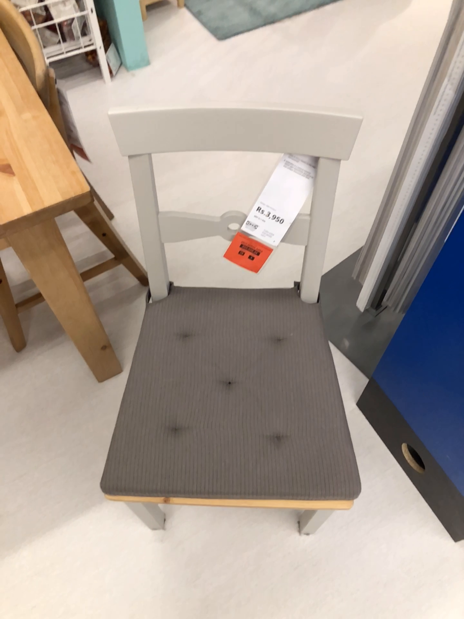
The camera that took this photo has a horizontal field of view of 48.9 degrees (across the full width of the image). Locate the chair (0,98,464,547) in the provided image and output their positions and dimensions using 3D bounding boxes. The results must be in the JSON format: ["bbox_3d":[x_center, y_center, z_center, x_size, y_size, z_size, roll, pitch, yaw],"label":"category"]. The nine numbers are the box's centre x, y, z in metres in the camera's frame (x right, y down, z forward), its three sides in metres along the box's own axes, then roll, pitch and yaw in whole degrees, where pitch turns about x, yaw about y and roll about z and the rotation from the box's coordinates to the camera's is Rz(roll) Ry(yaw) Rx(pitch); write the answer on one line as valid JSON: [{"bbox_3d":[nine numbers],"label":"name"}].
[{"bbox_3d":[0.008,0.112,0.900,0.430,0.766,0.472,1,59,1],"label":"chair"}]
